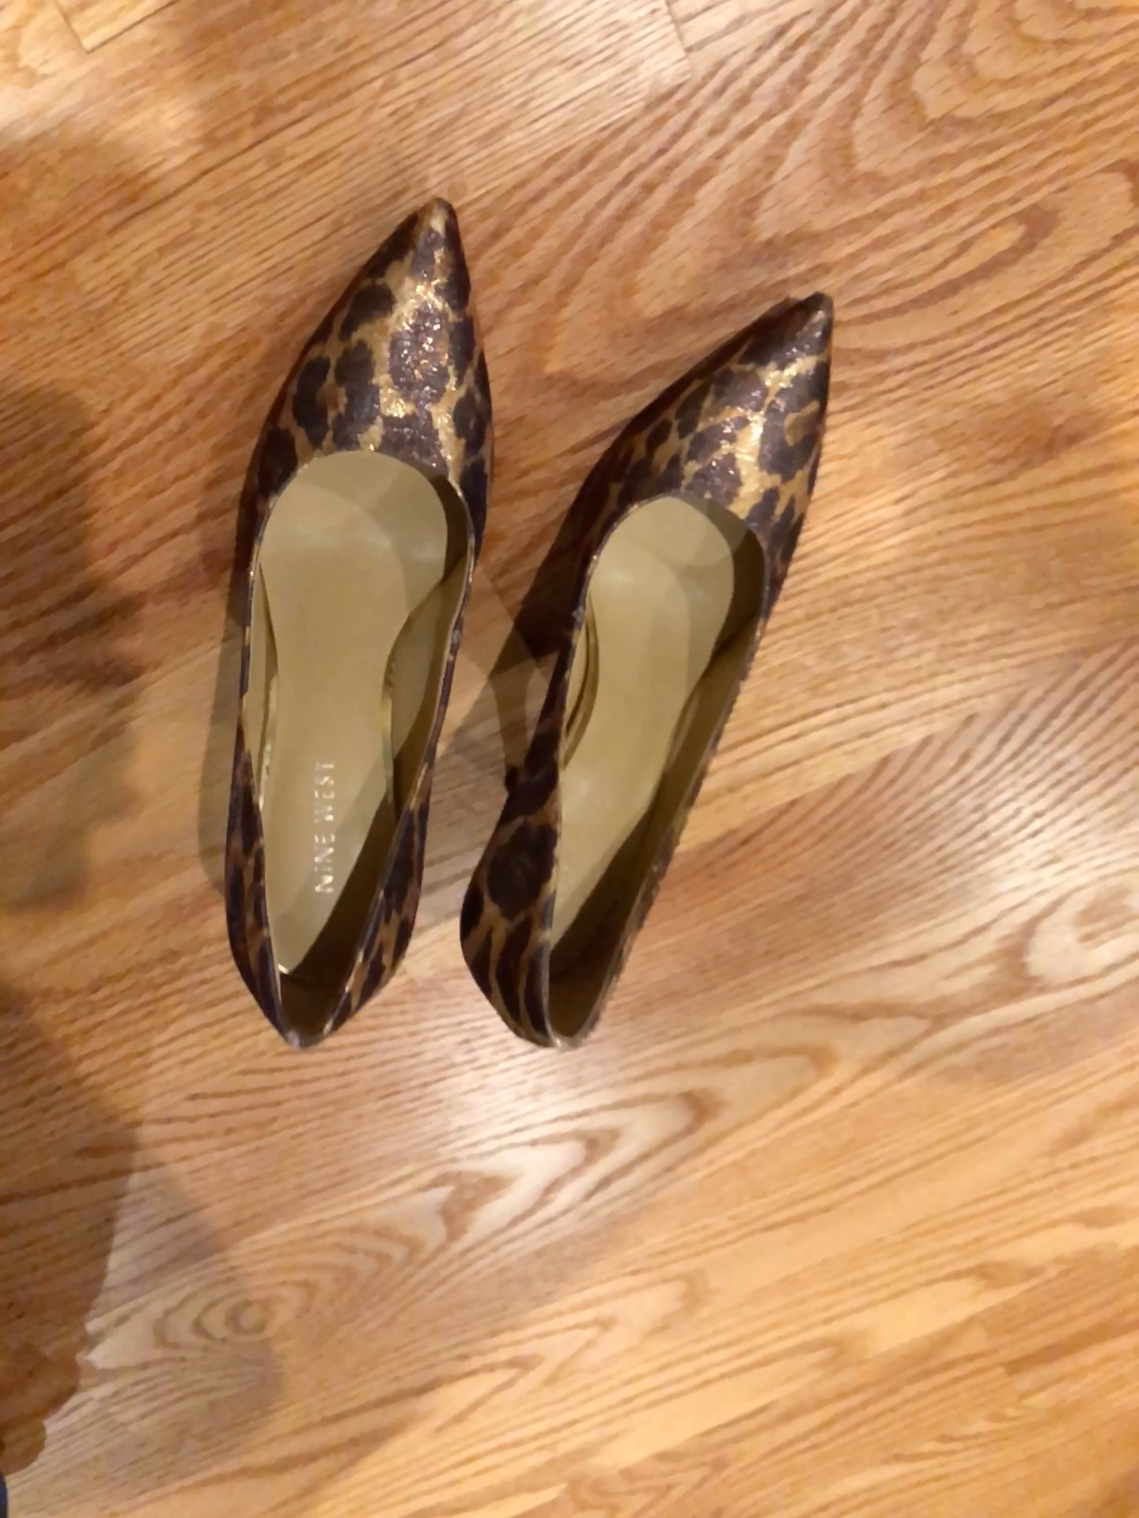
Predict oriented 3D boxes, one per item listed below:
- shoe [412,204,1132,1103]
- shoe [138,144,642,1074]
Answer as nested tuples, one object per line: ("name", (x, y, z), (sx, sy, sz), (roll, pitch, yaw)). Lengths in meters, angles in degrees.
("shoe", (0.035, -0.036, 0.380), (0.084, 0.144, 0.219), (21, 112, -17))
("shoe", (-0.059, -0.047, 0.362), (0.084, 0.144, 0.219), (9, 115, -12))
